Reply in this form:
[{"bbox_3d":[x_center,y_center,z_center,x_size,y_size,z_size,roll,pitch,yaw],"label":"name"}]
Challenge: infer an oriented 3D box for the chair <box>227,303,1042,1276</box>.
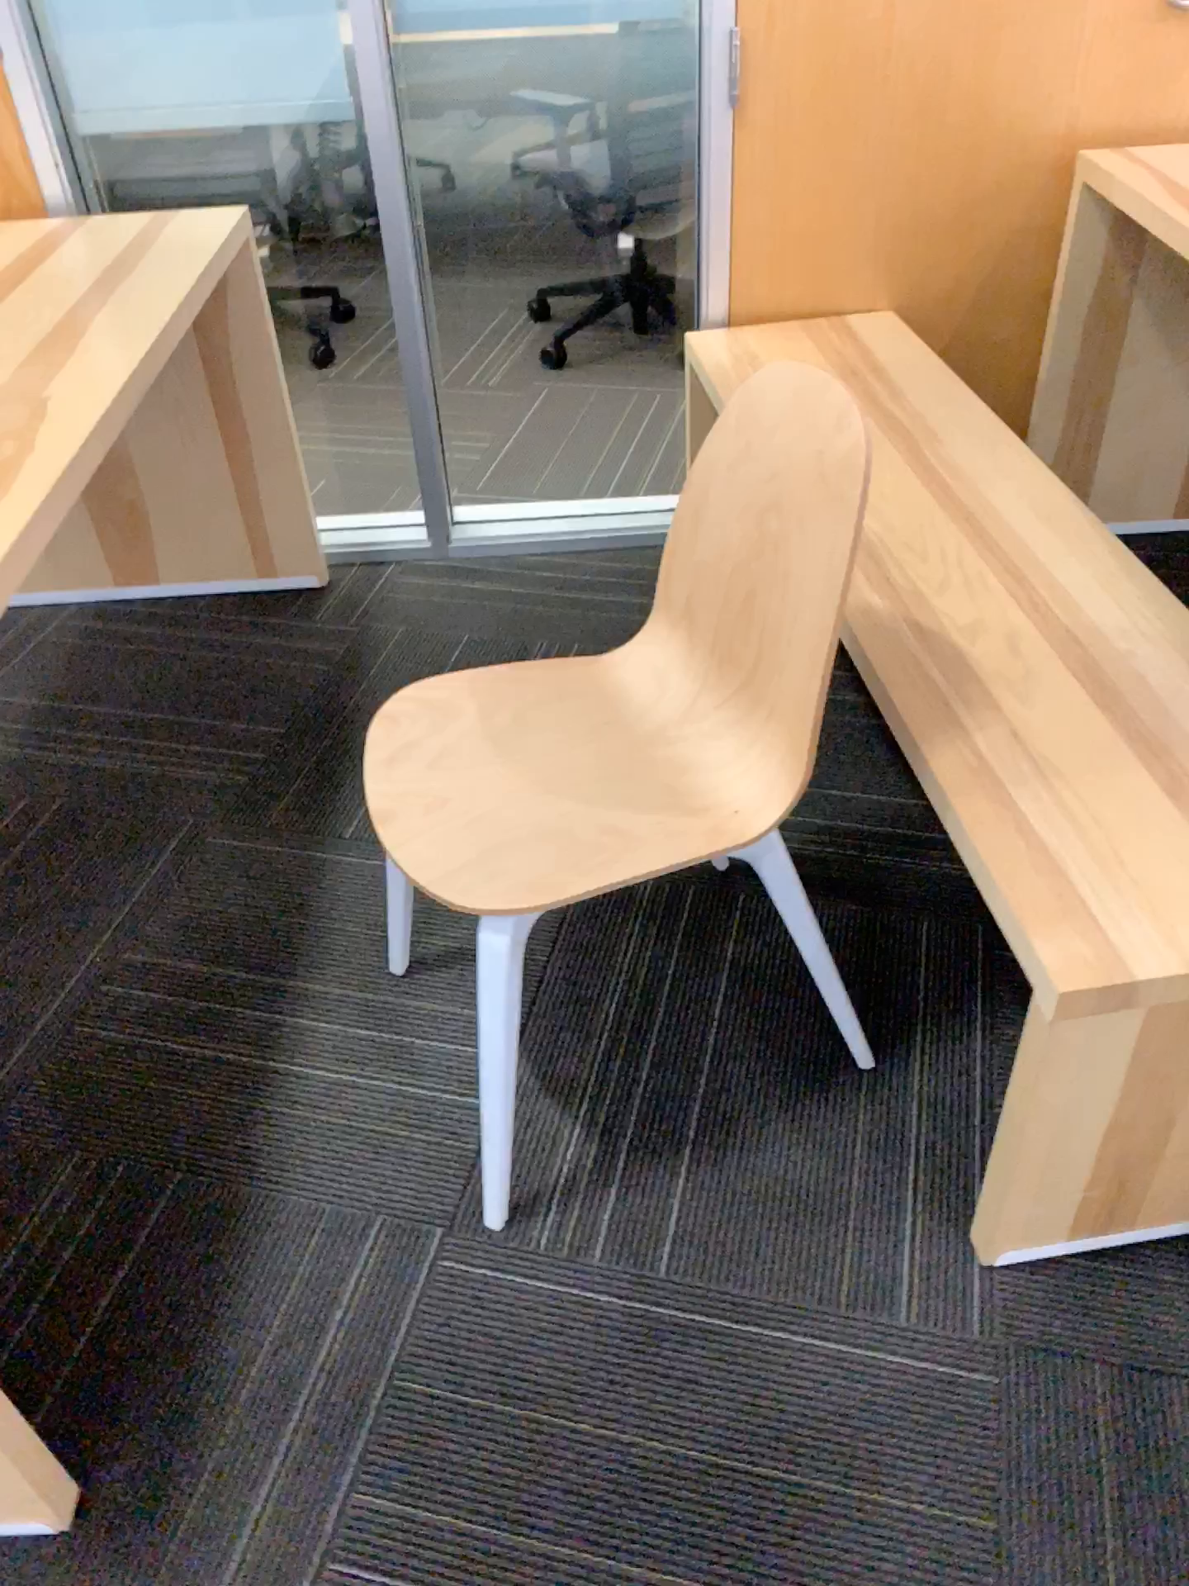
[{"bbox_3d":[0.020,-0.007,1.408,0.600,0.835,0.543,-16,41,-14],"label":"chair"}]
